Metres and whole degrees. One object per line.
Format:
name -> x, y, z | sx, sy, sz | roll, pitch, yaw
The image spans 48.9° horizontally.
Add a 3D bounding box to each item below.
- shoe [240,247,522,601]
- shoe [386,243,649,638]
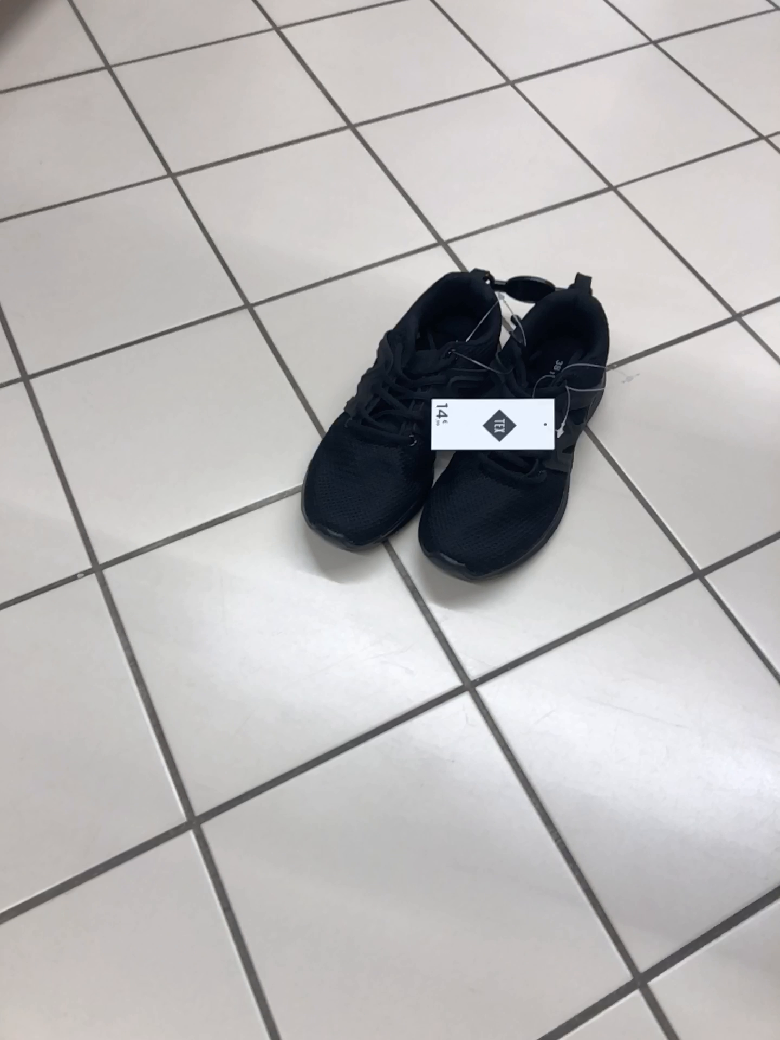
shoe -> -0.001, -0.081, 0.677 | 0.100, 0.110, 0.251 | 25, 61, 12
shoe -> 0.099, -0.066, 0.657 | 0.100, 0.120, 0.271 | 21, 60, 10
